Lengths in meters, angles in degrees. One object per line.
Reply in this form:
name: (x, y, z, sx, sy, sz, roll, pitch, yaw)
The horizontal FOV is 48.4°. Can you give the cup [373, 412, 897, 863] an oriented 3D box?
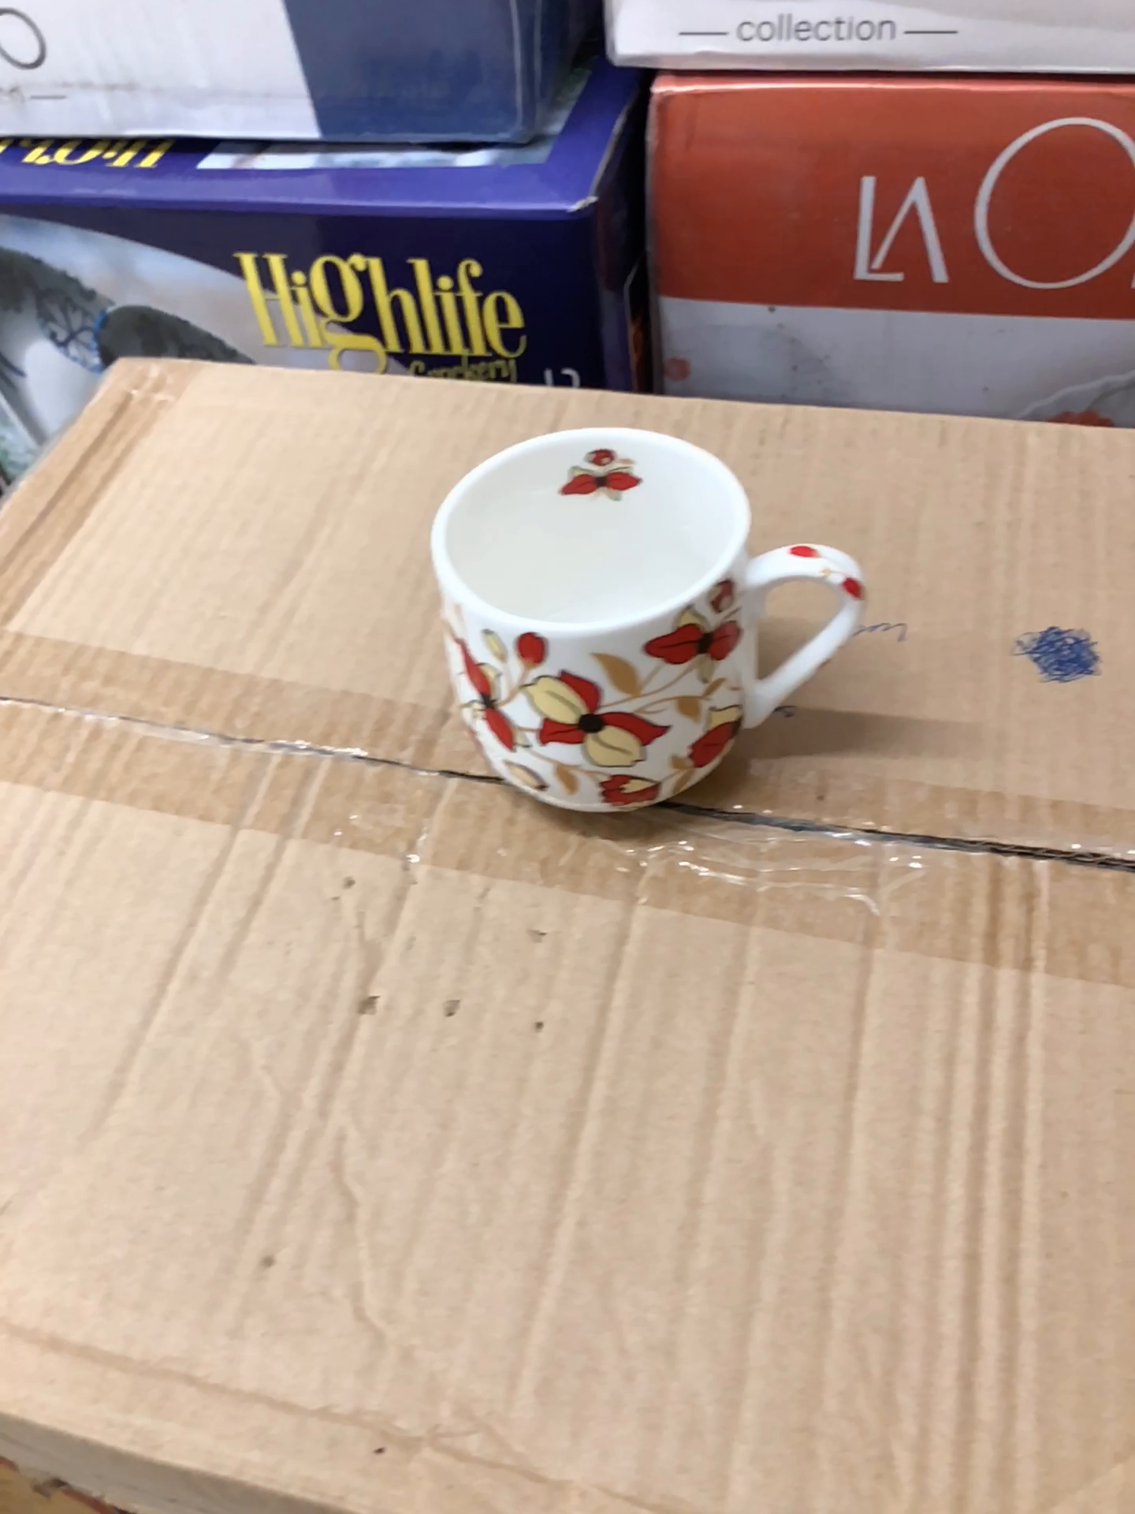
cup: (0.018, -0.026, 0.266, 0.090, 0.060, 0.060, 8, 51, 14)
